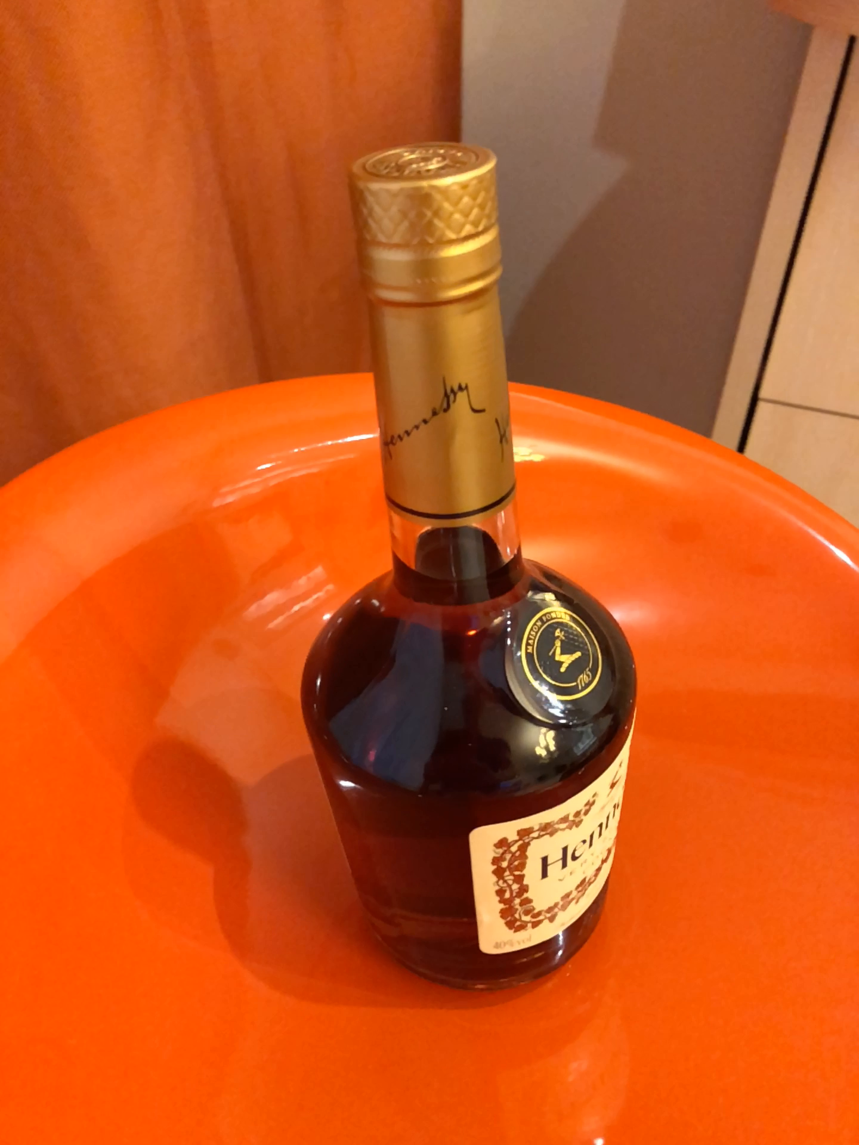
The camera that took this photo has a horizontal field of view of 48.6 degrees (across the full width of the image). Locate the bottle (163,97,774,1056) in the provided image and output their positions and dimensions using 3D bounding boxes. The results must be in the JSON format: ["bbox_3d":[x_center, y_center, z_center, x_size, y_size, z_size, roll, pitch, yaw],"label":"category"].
[{"bbox_3d":[0.013,0.012,0.240,0.079,0.218,0.079,-2,37,2],"label":"bottle"}]
